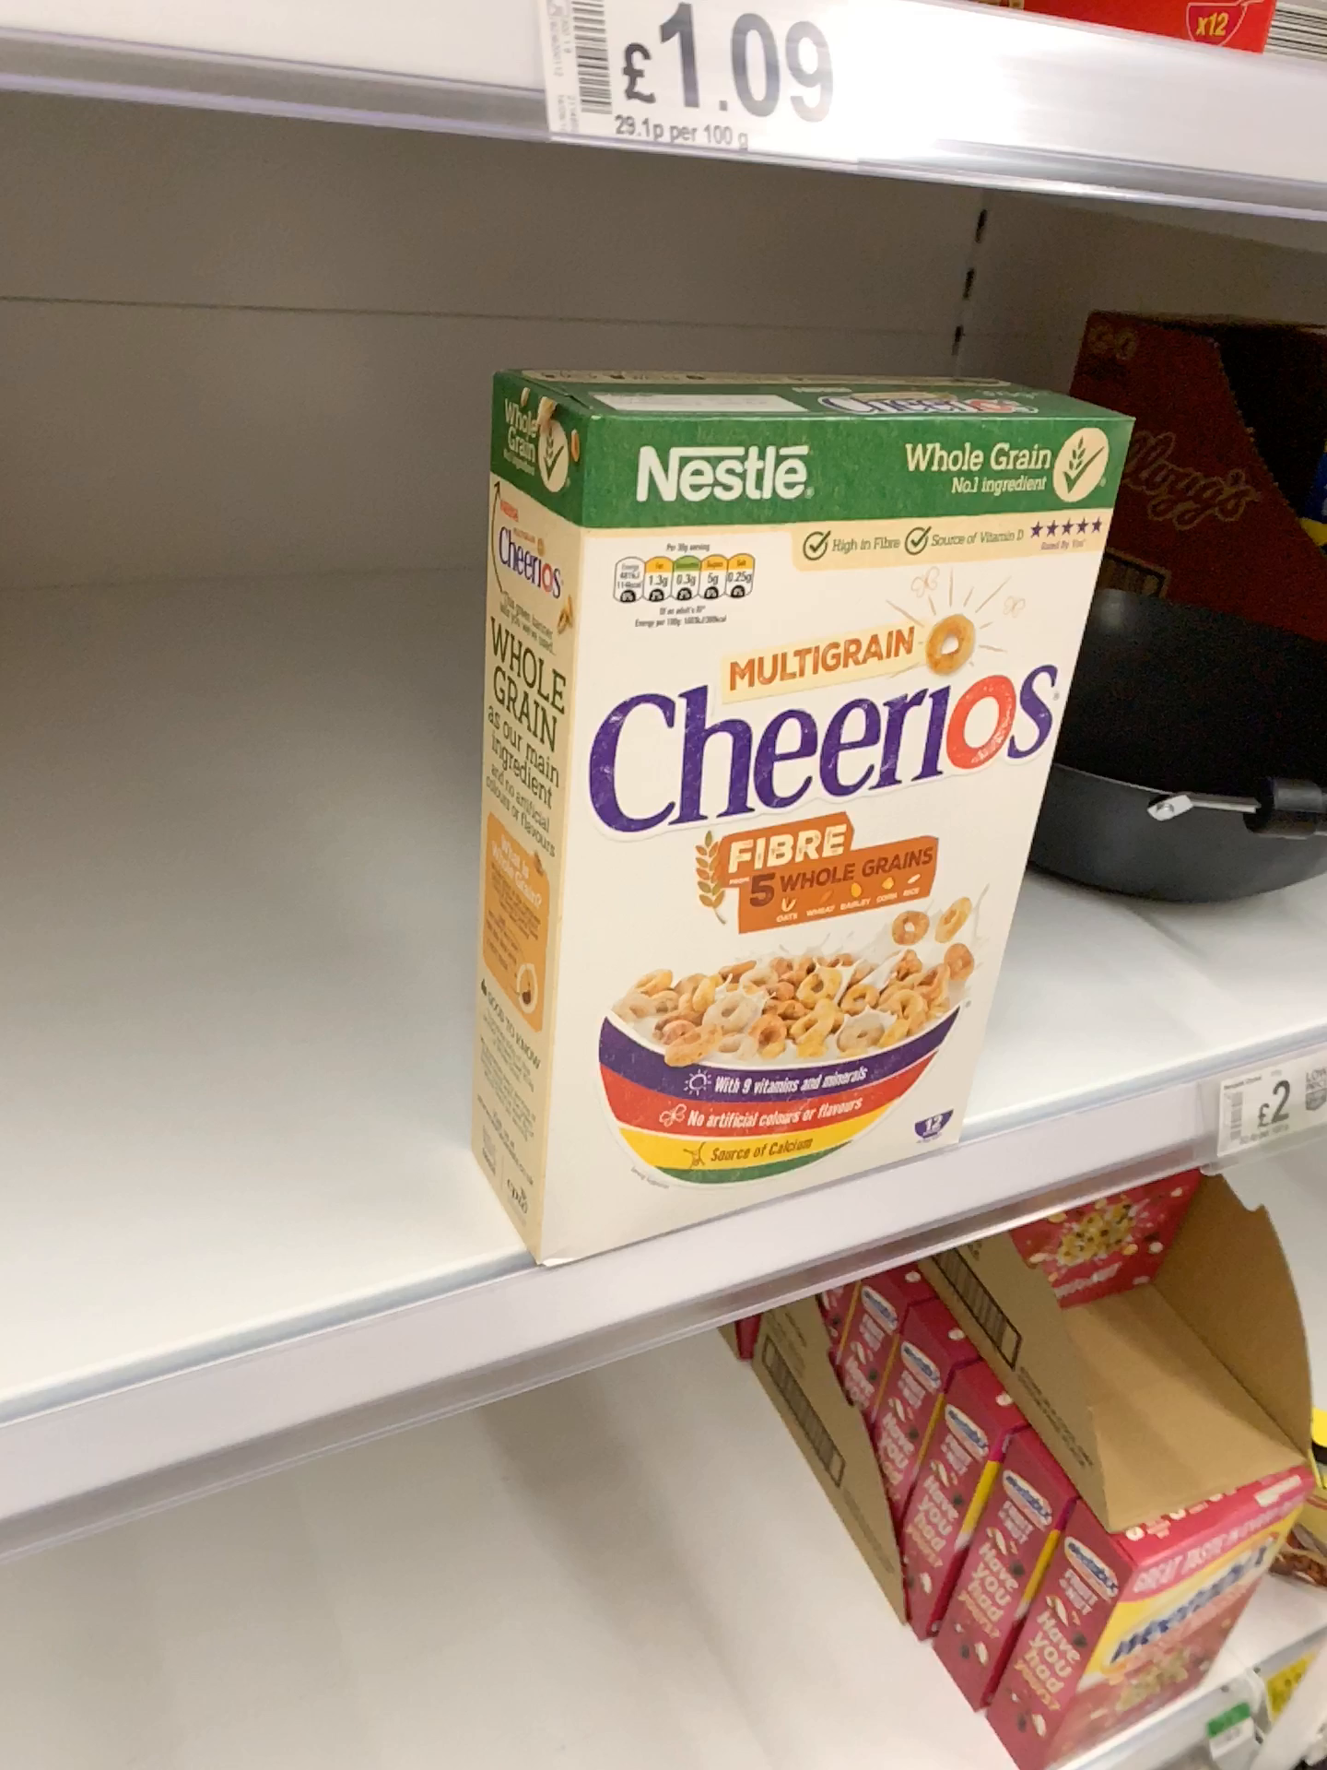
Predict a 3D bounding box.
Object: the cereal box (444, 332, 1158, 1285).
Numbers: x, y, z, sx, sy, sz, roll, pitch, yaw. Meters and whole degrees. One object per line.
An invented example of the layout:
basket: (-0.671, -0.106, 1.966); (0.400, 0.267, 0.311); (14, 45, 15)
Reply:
cereal box: (0.035, -0.026, 0.464); (0.201, 0.287, 0.070); (-10, 31, -28)
